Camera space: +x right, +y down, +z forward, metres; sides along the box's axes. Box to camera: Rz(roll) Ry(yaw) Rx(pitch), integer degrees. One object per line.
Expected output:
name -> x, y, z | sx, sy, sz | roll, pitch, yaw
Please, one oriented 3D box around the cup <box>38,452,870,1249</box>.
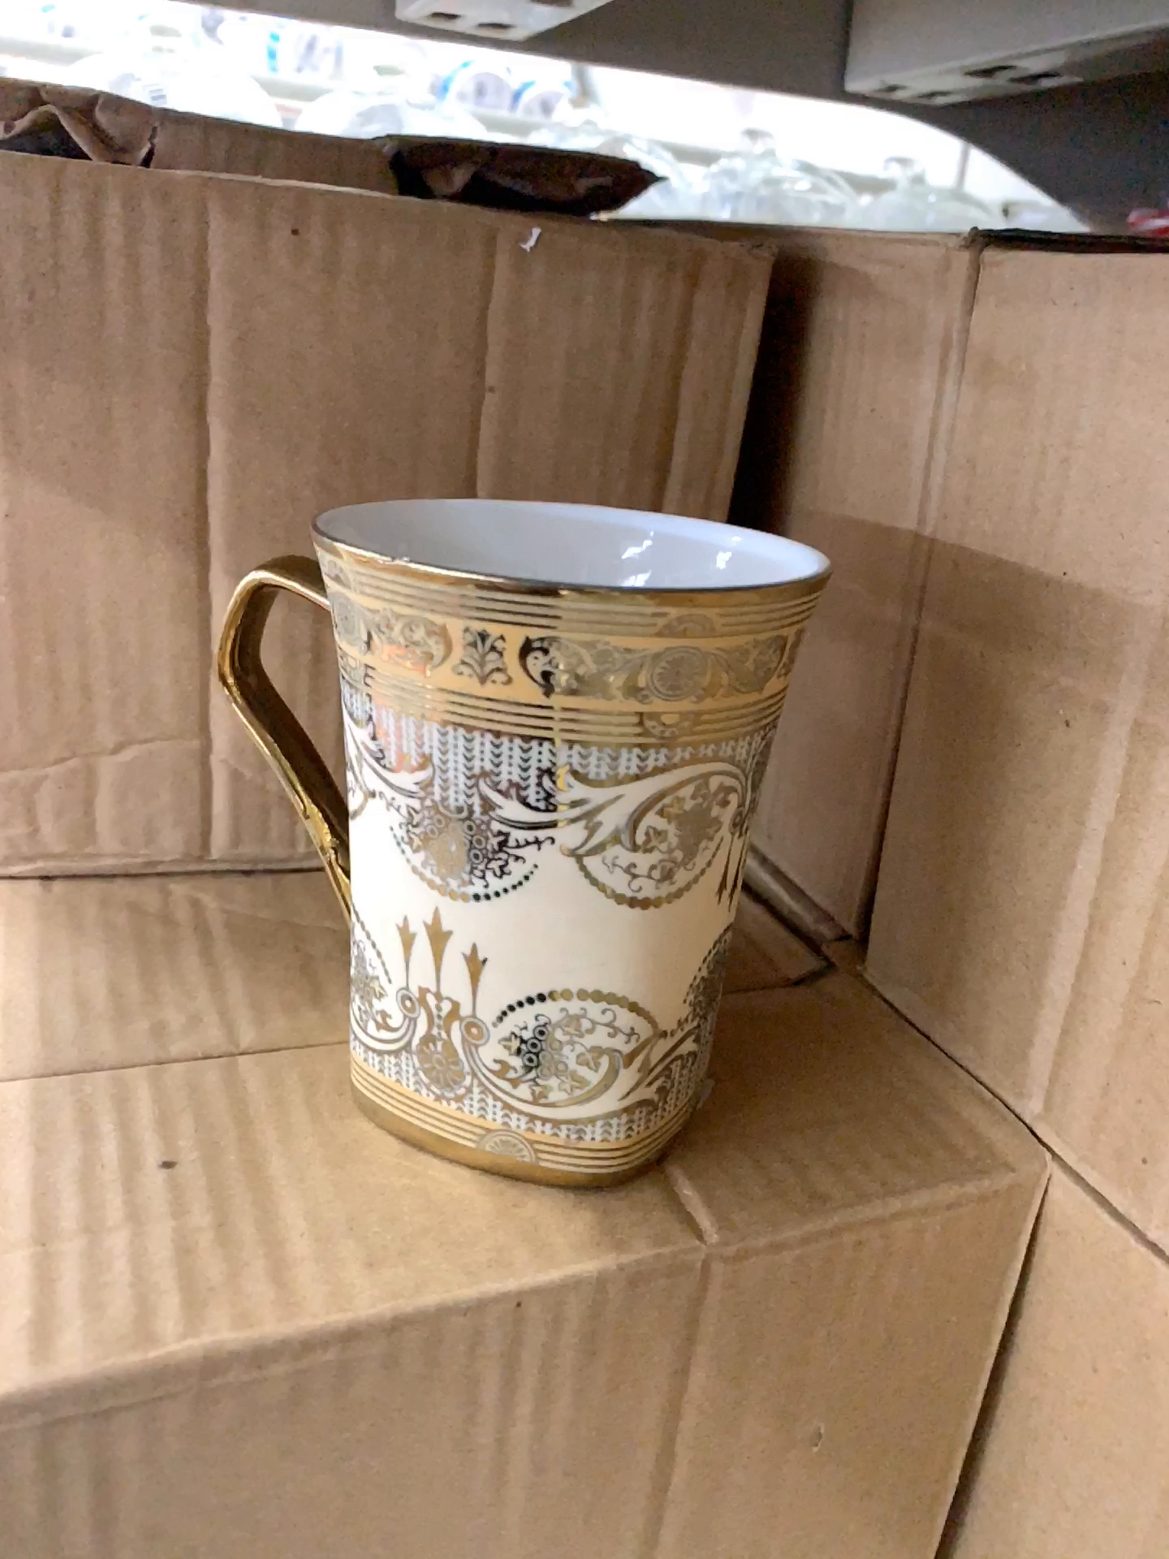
cup -> -0.019, -0.001, 0.213 | 0.105, 0.092, 0.084 | 13, 23, 23
